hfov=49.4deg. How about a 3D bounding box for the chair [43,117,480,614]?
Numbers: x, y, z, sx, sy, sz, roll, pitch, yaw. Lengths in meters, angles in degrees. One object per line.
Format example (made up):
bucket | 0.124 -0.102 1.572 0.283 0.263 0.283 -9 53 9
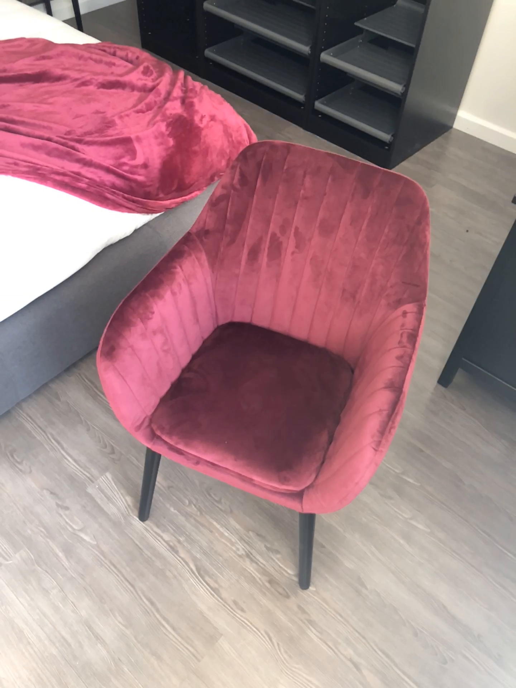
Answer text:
chair | 0.023 0.084 1.242 0.540 0.835 0.553 21 51 14
